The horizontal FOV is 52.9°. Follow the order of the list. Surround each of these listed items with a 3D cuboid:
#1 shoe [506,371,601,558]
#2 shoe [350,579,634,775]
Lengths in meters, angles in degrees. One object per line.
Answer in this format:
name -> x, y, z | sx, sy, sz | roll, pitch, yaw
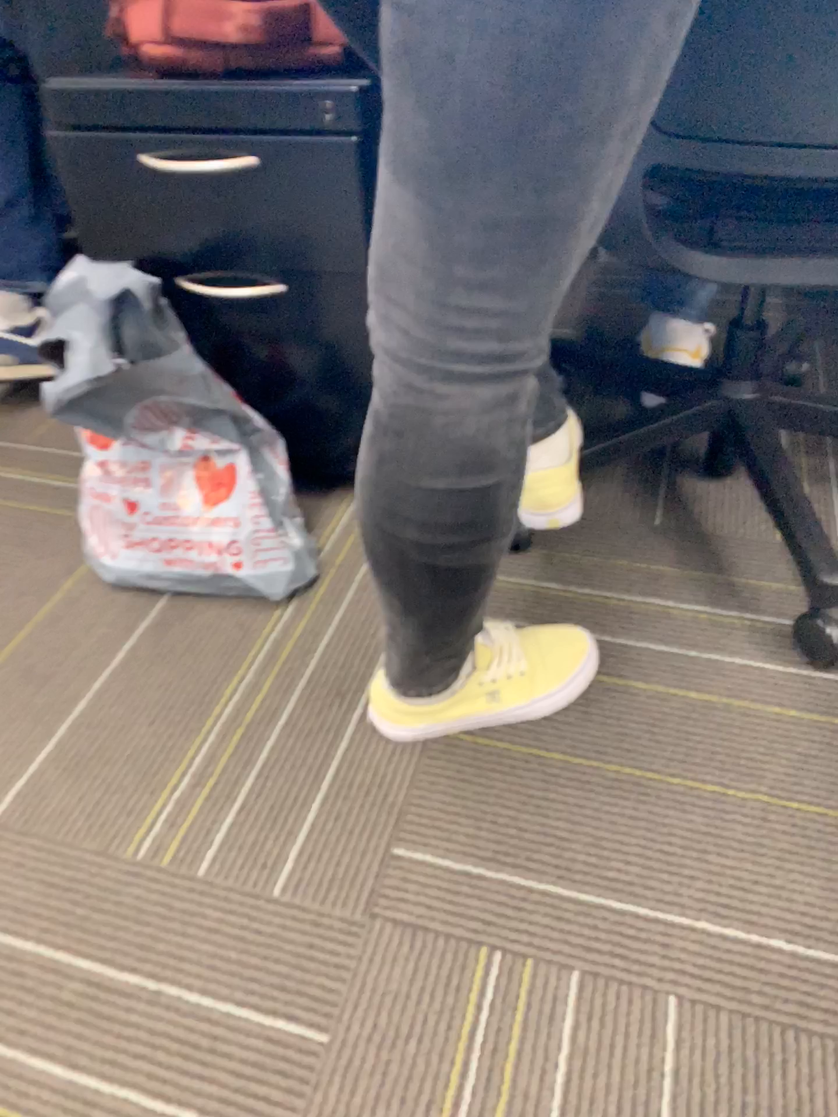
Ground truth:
shoe -> 0.155, -0.121, 1.015 | 0.098, 0.096, 0.261 | 1, 40, 6
shoe -> 0.074, 0.121, 0.886 | 0.268, 0.101, 0.103 | -13, 40, -10
